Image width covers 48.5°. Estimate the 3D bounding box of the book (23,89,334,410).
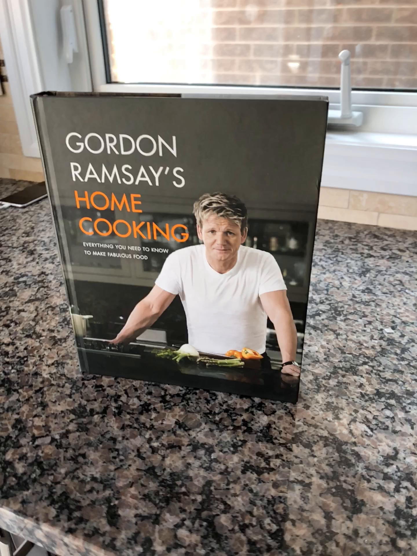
[{"bbox_3d":[-0.023,-0.014,0.385,0.217,0.261,0.028,5,29,11],"label":"book"}]
